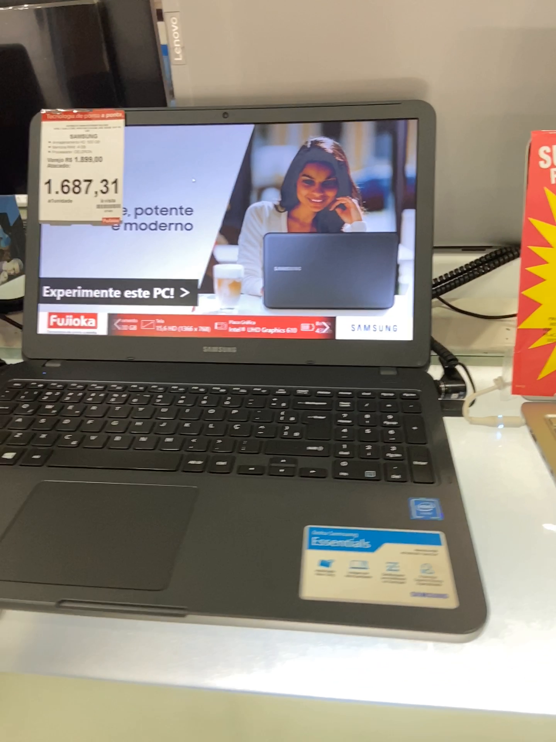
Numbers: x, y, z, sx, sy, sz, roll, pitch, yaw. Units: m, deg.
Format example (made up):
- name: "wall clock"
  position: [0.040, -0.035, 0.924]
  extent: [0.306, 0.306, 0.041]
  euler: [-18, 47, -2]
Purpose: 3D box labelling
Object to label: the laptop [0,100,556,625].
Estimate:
- name: "laptop"
  position: [-0.066, -0.059, 0.411]
  extent: [0.366, 0.197, 0.372]
  euler: [1, 30, 7]
